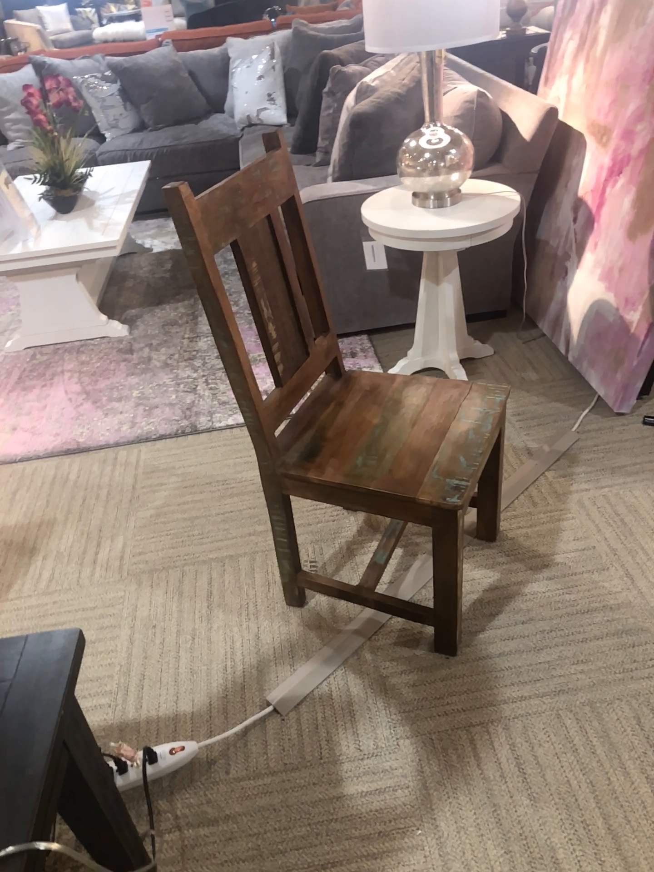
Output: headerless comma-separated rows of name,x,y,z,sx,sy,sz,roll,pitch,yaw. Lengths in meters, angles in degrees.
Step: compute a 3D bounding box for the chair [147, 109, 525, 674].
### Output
chair,0.094,-0.077,1.512,0.511,1.024,0.478,8,38,22
